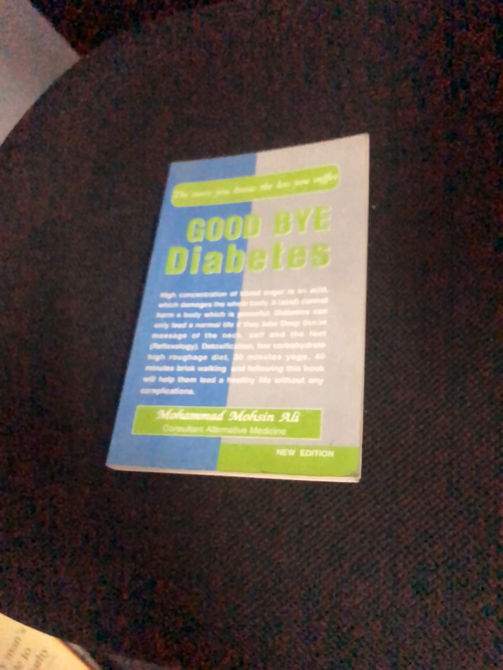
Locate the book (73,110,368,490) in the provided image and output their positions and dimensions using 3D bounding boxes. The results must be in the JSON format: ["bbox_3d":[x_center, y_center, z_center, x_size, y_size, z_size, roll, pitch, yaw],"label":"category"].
[{"bbox_3d":[-0.010,-0.031,0.337,0.150,0.020,0.230,-1,65,18],"label":"book"}]
